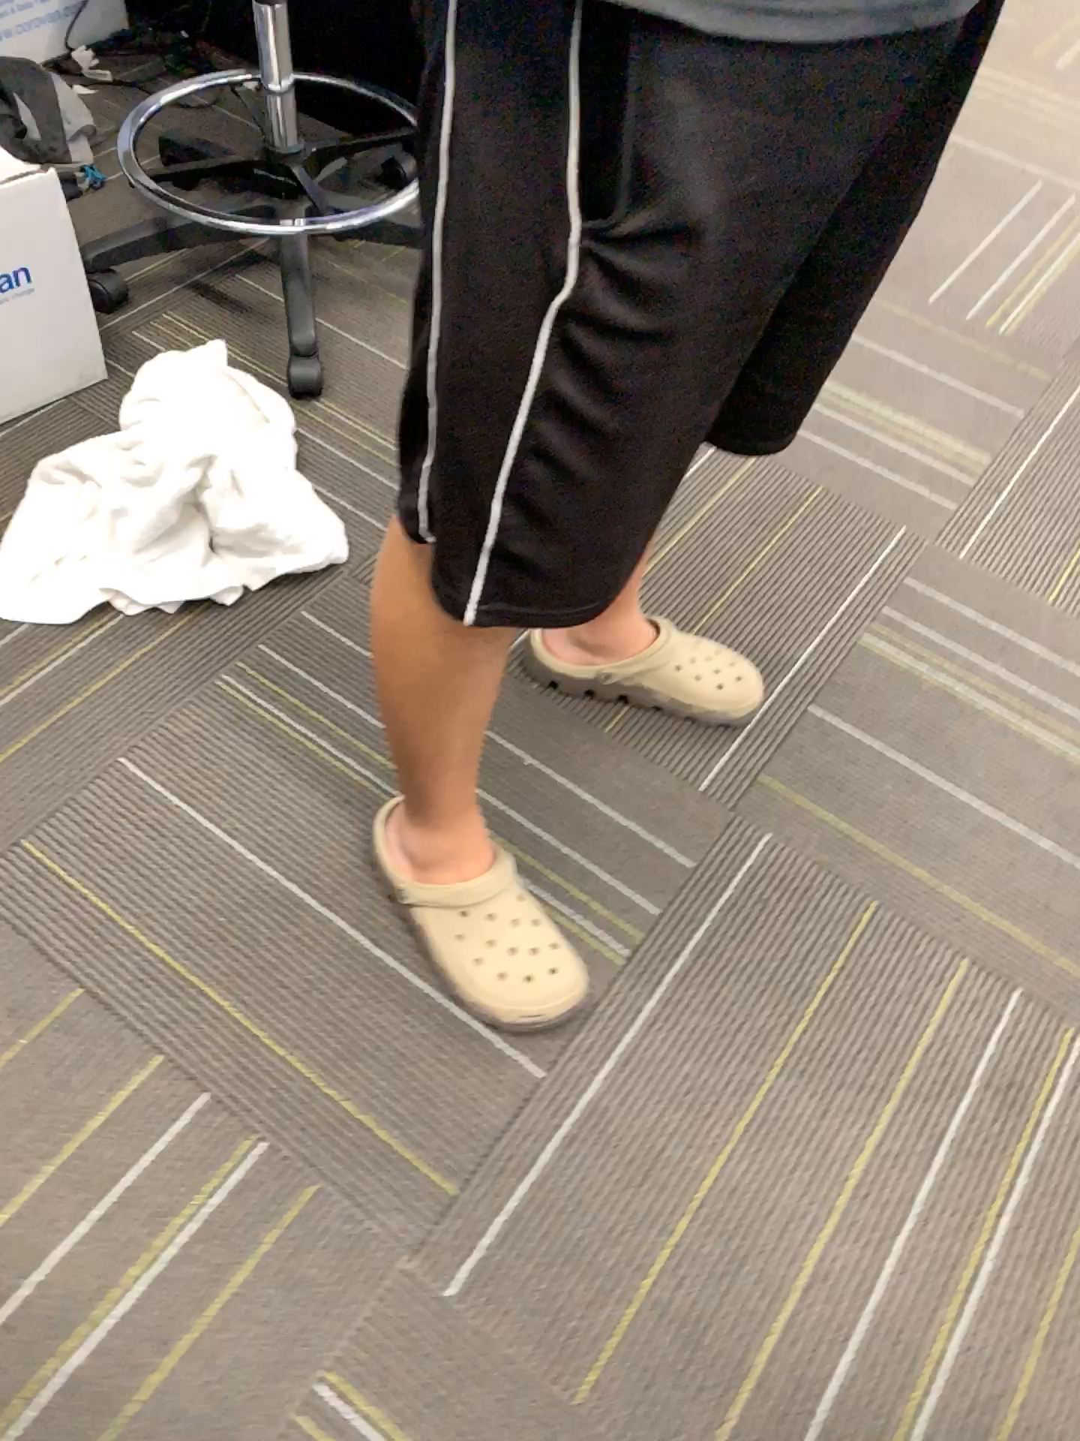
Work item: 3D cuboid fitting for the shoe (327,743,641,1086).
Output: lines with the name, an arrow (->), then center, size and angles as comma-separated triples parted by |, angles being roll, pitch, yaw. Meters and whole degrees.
shoe -> -0.067, 0.194, 1.166 | 0.150, 0.090, 0.331 | -31, 62, -26

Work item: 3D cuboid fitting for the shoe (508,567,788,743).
shoe -> 0.138, -0.084, 1.402 | 0.330, 0.090, 0.141 | 11, 52, 2
